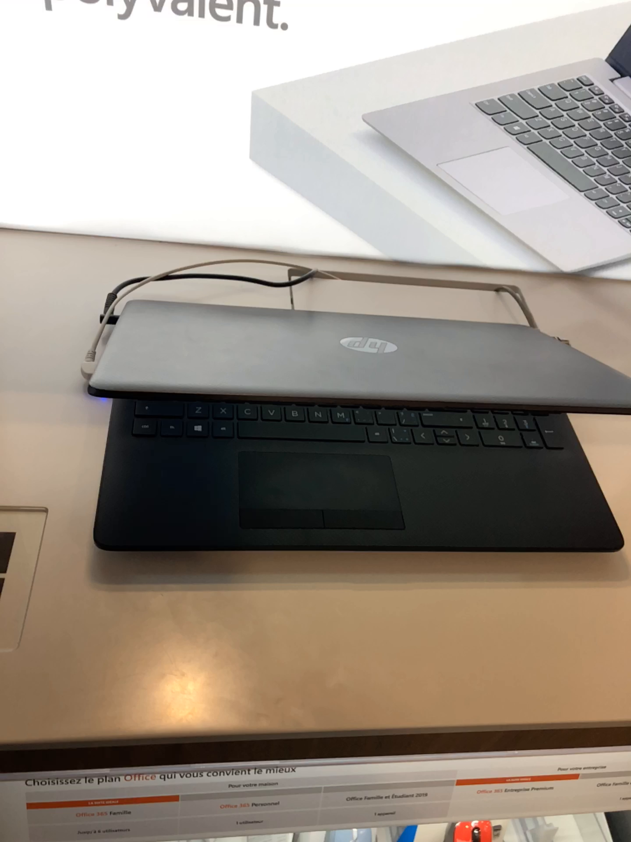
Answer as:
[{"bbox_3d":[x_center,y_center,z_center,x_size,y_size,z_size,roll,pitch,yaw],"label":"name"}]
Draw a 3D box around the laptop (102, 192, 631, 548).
[{"bbox_3d":[0.045,-0.041,0.509,0.351,0.107,0.239,2,47,-9],"label":"laptop"}]
